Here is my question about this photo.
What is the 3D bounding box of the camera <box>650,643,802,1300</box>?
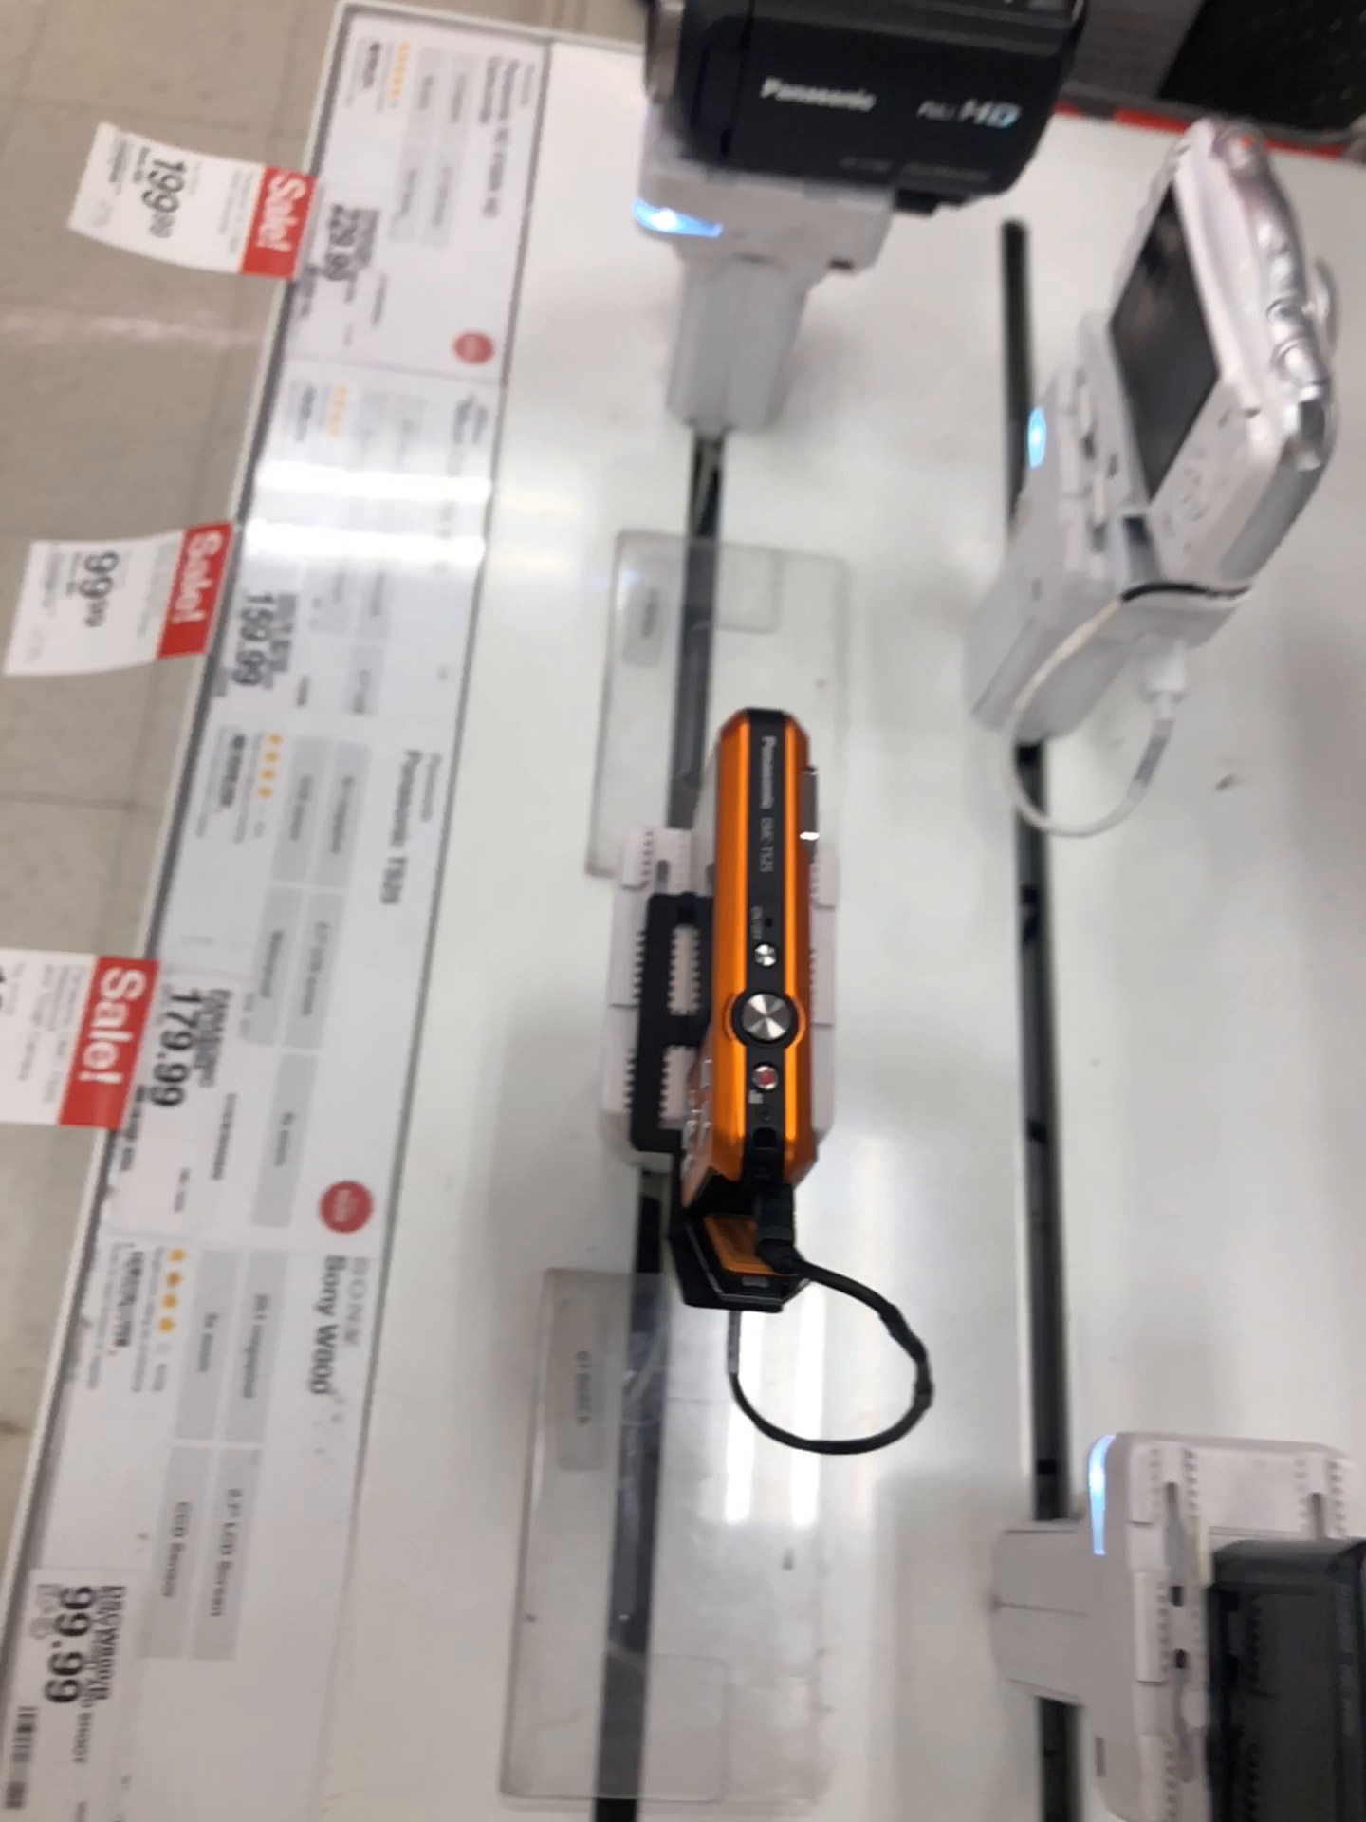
[{"bbox_3d":[0.009,0.013,0.314,0.020,0.060,0.120,5,67,-5],"label":"camera"}]
